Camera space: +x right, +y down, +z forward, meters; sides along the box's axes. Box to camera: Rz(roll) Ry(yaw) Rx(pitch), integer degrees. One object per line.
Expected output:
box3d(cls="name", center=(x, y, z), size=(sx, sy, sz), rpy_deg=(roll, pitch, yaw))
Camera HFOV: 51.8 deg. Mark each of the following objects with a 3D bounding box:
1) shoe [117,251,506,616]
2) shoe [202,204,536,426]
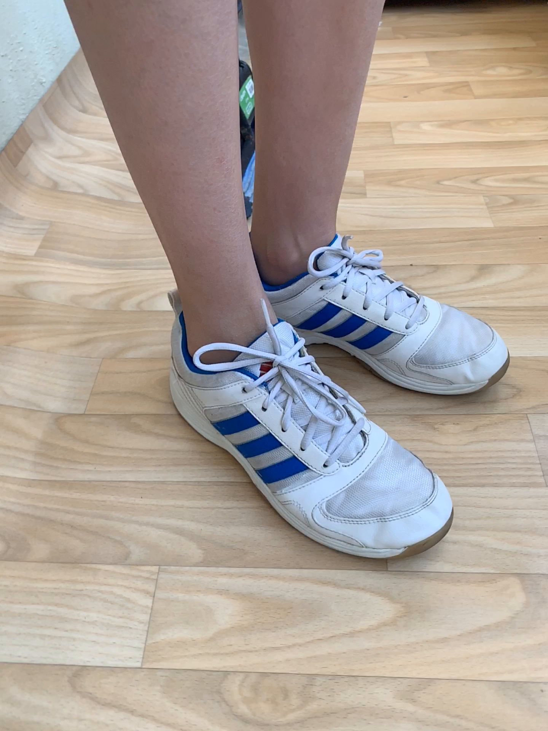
box3d(cls="shoe", center=(0.014, 0.036, 0.423), size=(0.261, 0.120, 0.100), rpy_deg=(34, 58, 31))
box3d(cls="shoe", center=(0.078, -0.054, 0.509), size=(0.260, 0.090, 0.100), rpy_deg=(19, 52, 21))
